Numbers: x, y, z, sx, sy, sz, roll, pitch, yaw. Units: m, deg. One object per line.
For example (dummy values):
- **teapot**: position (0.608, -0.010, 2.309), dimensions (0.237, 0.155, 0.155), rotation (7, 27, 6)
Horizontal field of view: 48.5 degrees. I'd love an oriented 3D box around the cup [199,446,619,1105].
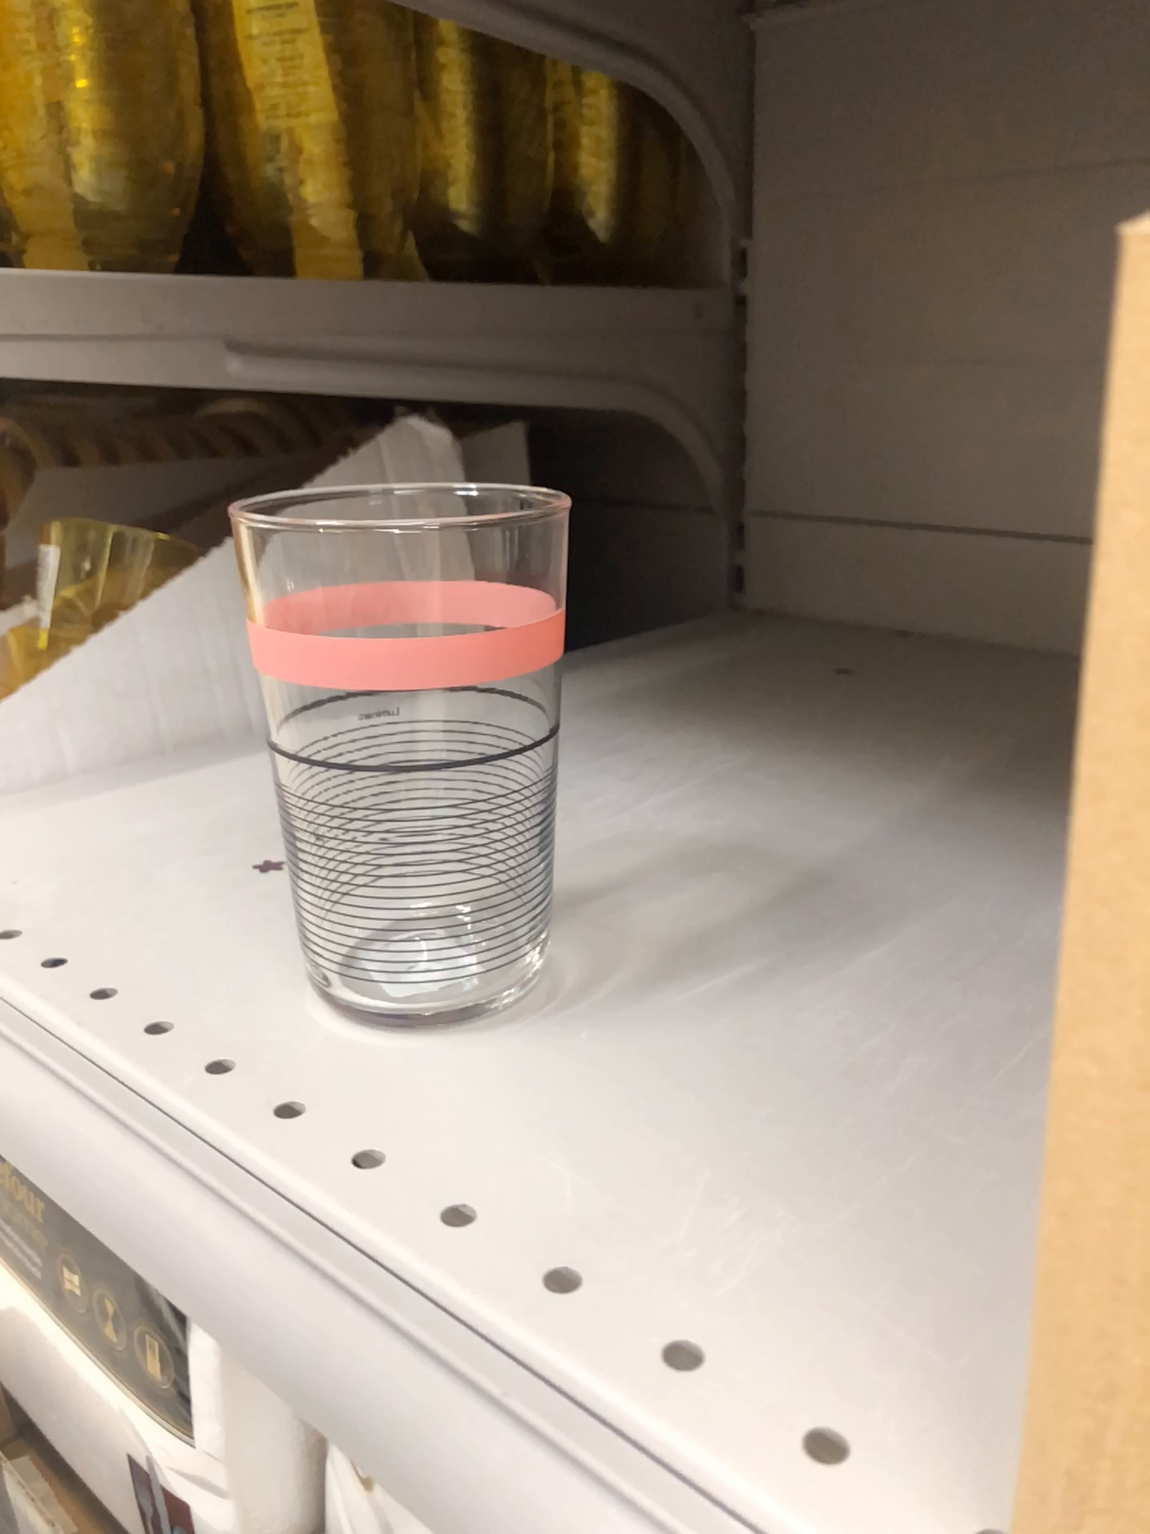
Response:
- **cup**: position (-0.038, -0.004, 0.288), dimensions (0.063, 0.123, 0.073), rotation (-11, 20, -21)
